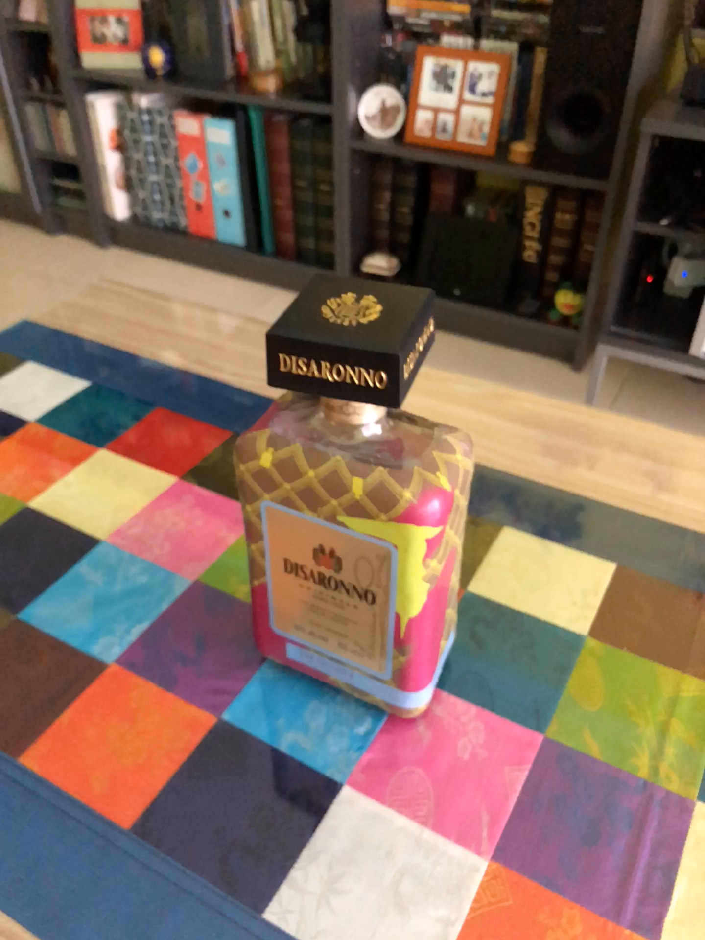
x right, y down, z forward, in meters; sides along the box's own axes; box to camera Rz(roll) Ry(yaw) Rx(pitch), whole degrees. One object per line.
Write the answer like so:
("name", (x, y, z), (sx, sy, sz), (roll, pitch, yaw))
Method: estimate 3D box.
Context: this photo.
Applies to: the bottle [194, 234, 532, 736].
("bottle", (0.007, 0.014, 0.408), (0.120, 0.229, 0.080), (18, 42, 22))
